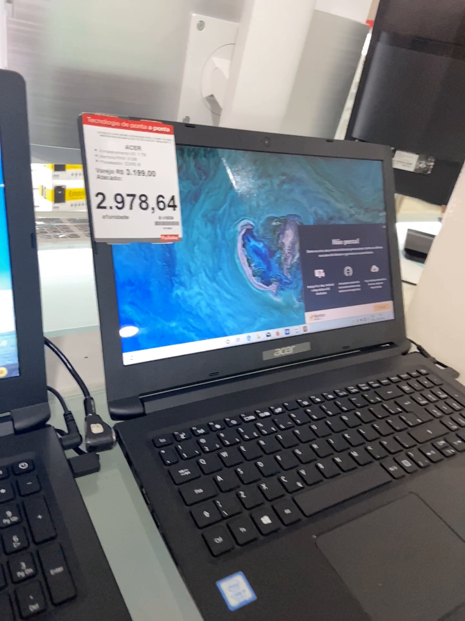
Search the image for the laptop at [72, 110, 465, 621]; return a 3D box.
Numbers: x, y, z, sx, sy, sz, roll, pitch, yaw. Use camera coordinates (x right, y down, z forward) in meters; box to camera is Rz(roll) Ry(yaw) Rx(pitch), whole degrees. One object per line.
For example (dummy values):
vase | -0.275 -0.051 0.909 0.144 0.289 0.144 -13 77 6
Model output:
laptop | 0.106 0.002 0.396 0.370 0.205 0.376 -6 33 -31
